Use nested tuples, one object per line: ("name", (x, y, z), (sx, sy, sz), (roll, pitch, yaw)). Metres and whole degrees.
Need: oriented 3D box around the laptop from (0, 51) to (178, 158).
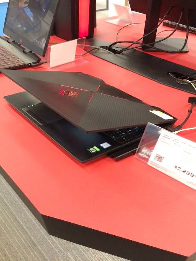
("laptop", (-0.041, -0.089, 0.623), (0.251, 0.091, 0.331), (-24, 41, -29))
